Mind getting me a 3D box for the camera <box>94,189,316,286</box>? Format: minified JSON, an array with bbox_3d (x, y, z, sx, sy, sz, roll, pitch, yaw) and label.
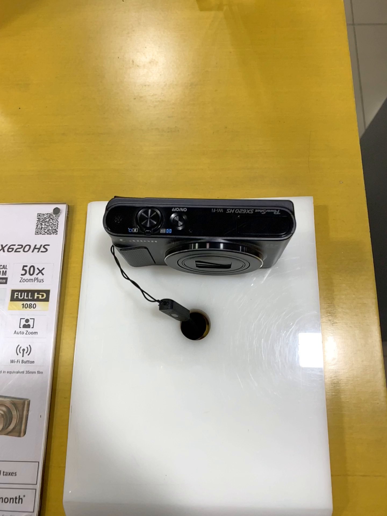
[{"bbox_3d":[0.006,-0.008,0.213,0.100,0.060,0.030,2,75,3],"label":"camera"}]
